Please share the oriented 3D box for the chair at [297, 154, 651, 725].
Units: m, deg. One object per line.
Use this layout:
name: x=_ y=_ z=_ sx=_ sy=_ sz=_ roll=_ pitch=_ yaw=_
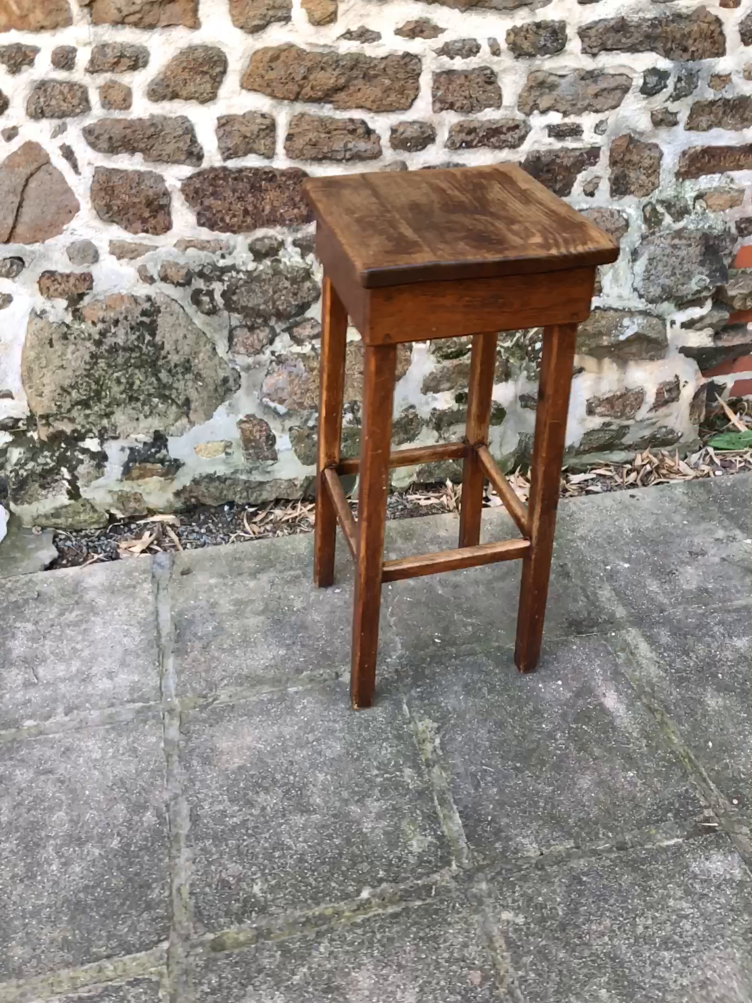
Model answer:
chair: x=0.099 y=-0.068 z=1.283 sx=0.351 sy=0.795 sz=0.332 roll=-9 pitch=40 yaw=-13
